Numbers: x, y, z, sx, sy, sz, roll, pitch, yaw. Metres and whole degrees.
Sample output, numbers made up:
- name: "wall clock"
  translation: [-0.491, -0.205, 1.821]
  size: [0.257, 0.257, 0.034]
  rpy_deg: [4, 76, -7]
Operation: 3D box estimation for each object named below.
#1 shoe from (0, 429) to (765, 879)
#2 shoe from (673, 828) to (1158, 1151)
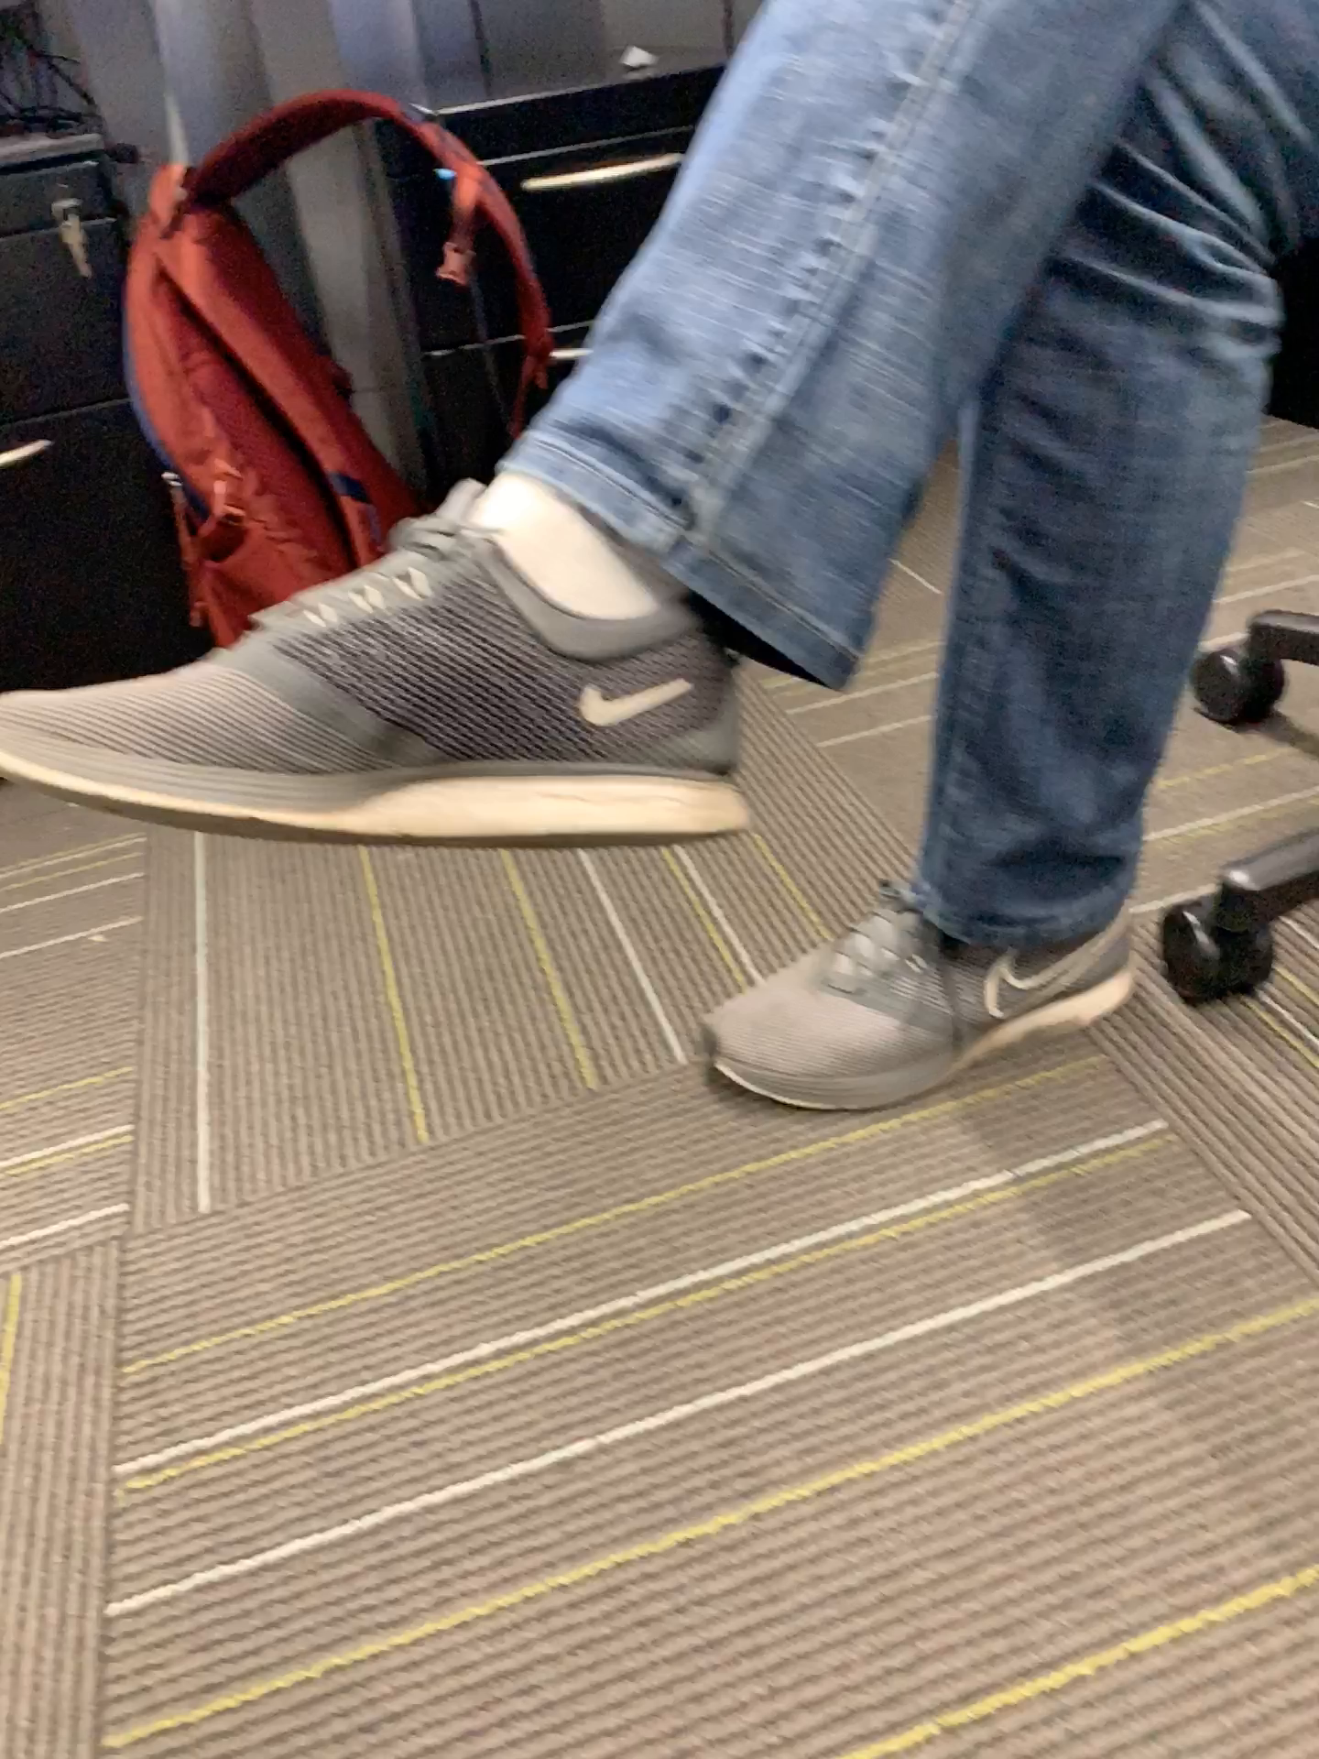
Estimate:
- name: "shoe"
  translation: [-0.114, -0.082, 0.534]
  size: [0.295, 0.143, 0.122]
  rpy_deg: [-1, -8, -2]
- name: "shoe"
  translation: [0.158, 0.064, 0.857]
  size: [0.269, 0.085, 0.120]
  rpy_deg: [-14, 33, -9]
